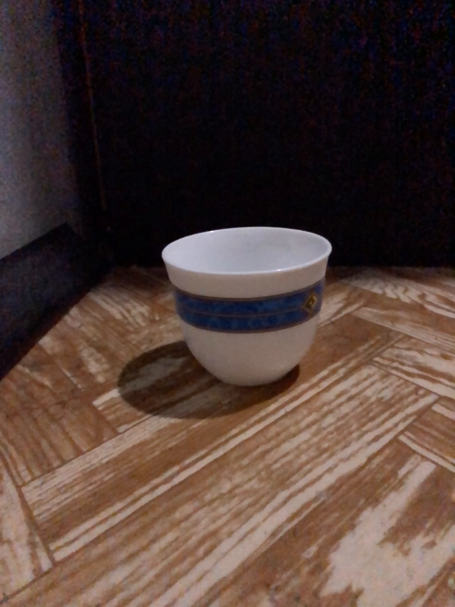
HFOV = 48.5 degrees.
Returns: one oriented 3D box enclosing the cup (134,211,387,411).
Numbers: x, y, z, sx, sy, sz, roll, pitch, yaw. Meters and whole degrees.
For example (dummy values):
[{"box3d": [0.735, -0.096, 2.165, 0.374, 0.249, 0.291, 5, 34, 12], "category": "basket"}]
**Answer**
[{"box3d": [0.023, -0.007, 0.276, 0.087, 0.062, 0.111, 12, 25, 34], "category": "cup"}]
